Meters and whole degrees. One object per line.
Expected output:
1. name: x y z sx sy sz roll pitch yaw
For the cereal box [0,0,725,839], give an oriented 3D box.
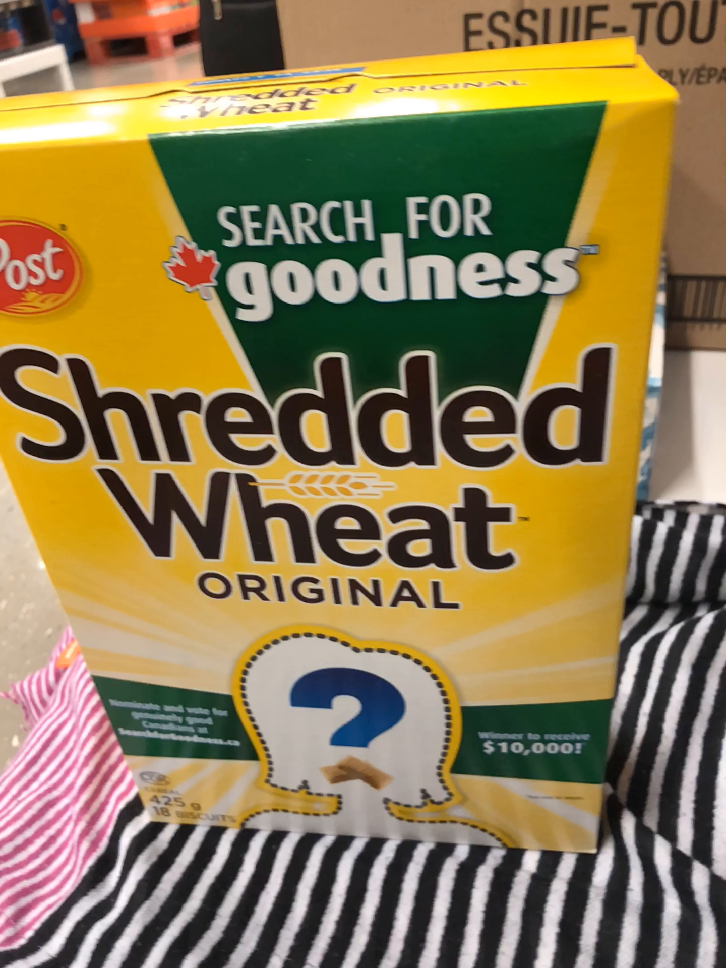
1. cereal box: -0.014 -0.001 0.279 0.210 0.269 0.080 0 35 10
